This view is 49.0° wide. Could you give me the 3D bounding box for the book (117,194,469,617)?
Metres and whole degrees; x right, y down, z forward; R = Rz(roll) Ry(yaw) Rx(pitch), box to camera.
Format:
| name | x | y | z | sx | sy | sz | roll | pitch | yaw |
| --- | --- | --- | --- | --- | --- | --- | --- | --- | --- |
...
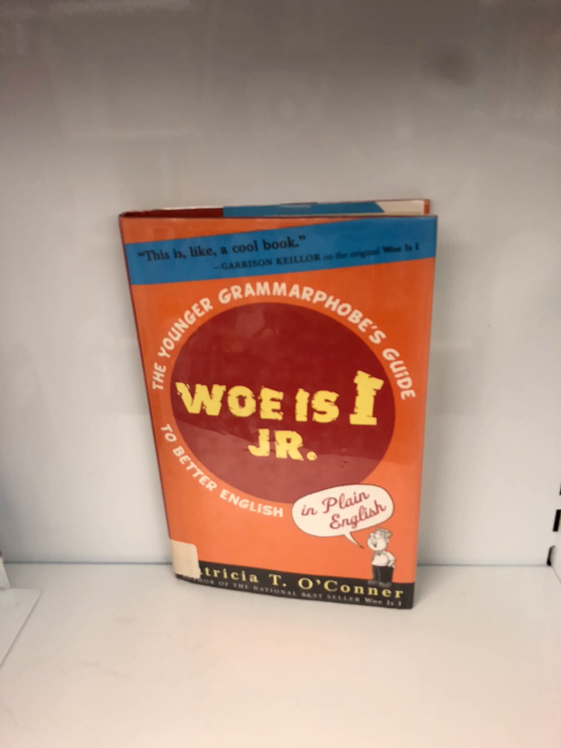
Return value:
| name | x | y | z | sx | sy | sz | roll | pitch | yaw |
| --- | --- | --- | --- | --- | --- | --- | --- | --- | --- |
| book | 0.008 | 0.021 | 0.295 | 0.137 | 0.199 | 0.038 | 1 | 24 | 8 |
